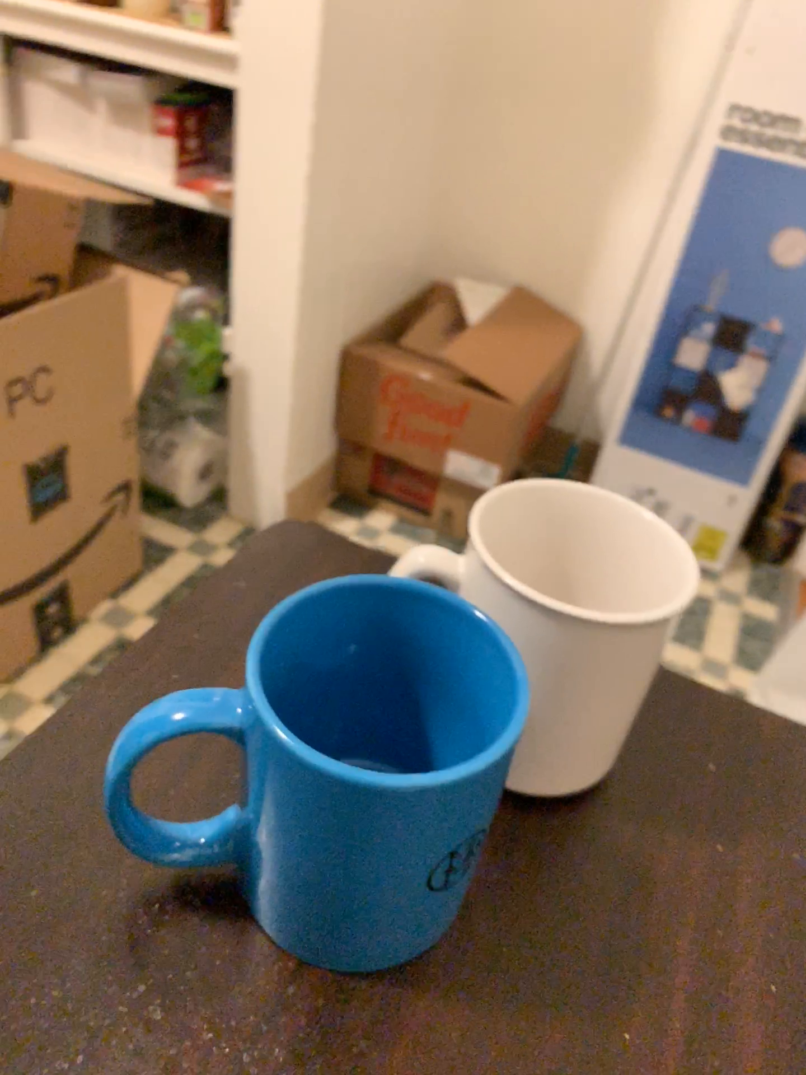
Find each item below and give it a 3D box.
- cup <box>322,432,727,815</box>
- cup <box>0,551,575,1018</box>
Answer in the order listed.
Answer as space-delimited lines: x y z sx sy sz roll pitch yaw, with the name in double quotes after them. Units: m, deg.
0.040 0.031 0.325 0.120 0.089 0.091 11 36 1 "cup"
-0.039 0.074 0.262 0.140 0.099 0.091 2 37 -11 "cup"
